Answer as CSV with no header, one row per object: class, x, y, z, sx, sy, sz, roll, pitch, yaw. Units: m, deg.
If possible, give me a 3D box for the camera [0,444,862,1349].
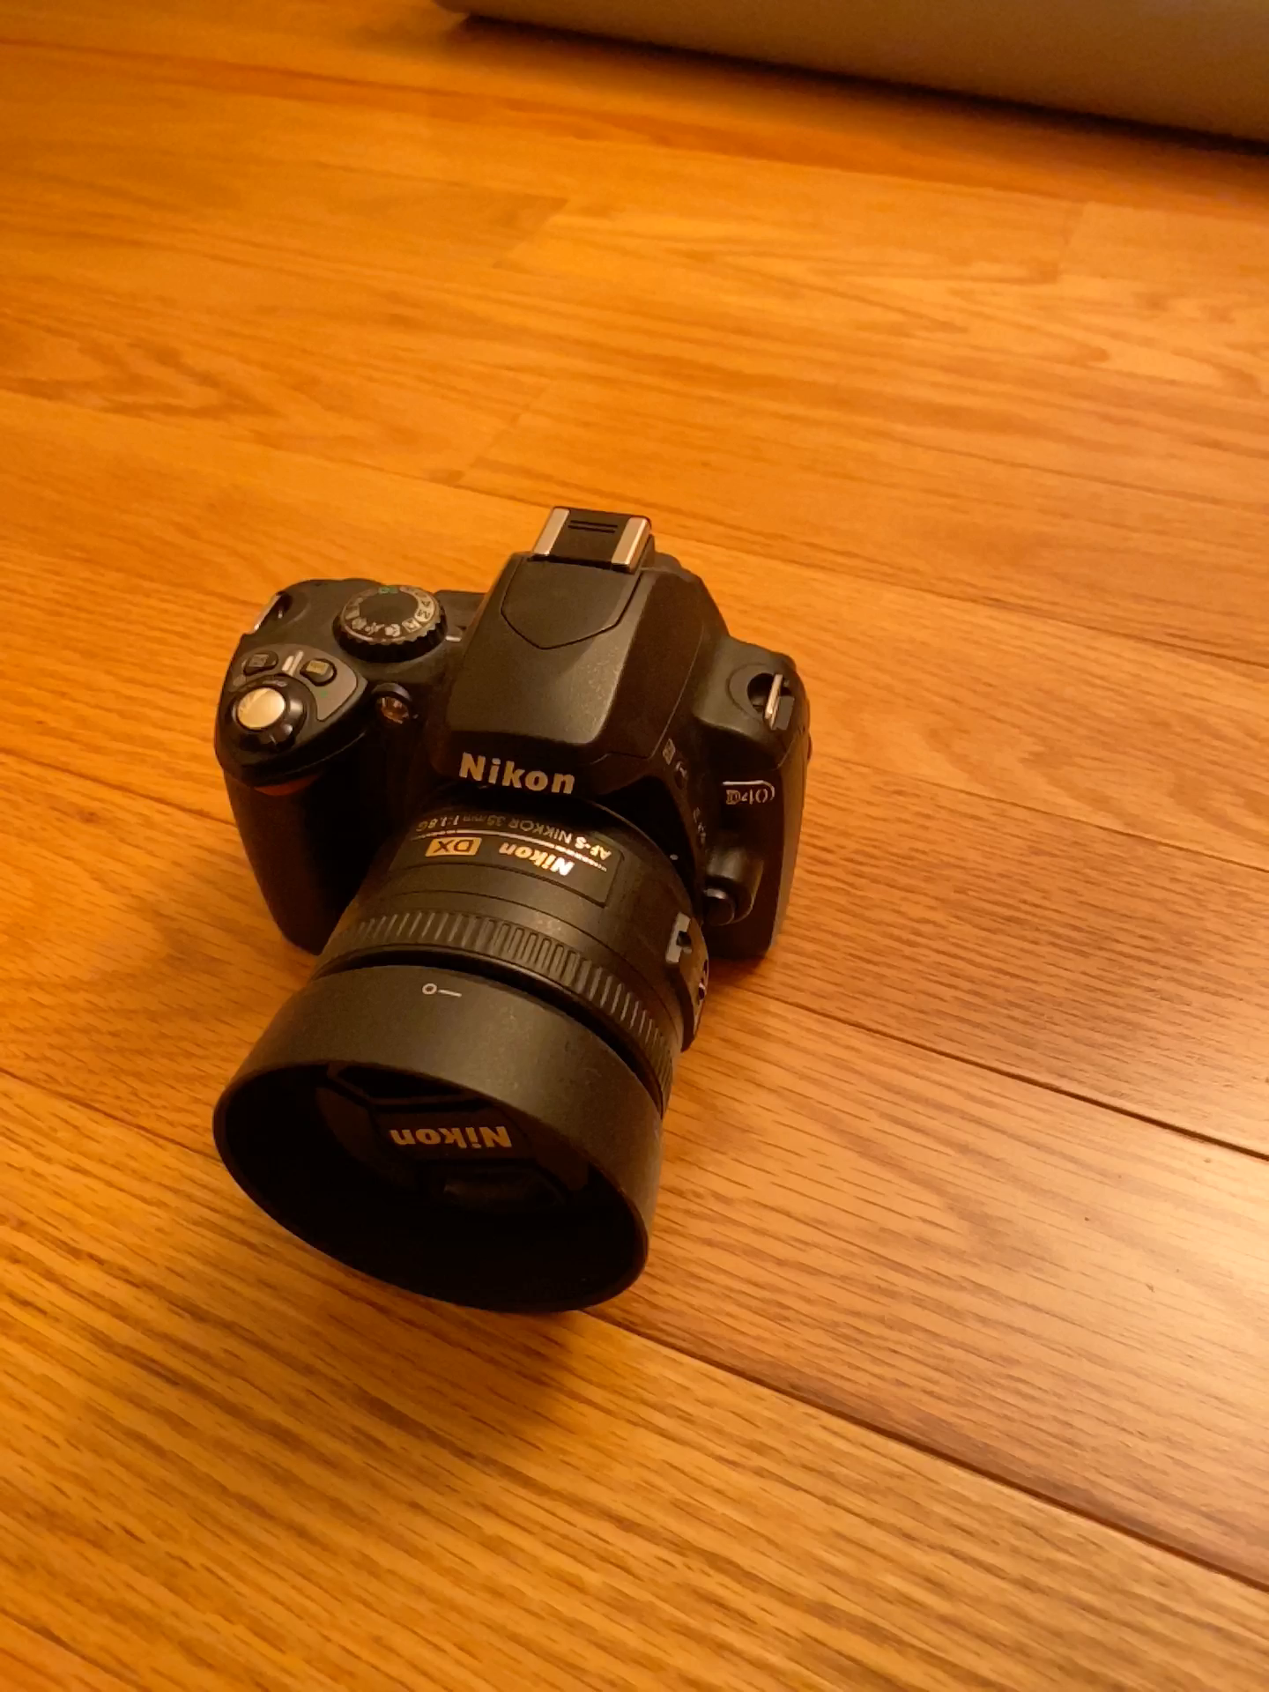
camera,-0.033,-0.001,0.256,0.130,0.079,0.141,9,47,10
